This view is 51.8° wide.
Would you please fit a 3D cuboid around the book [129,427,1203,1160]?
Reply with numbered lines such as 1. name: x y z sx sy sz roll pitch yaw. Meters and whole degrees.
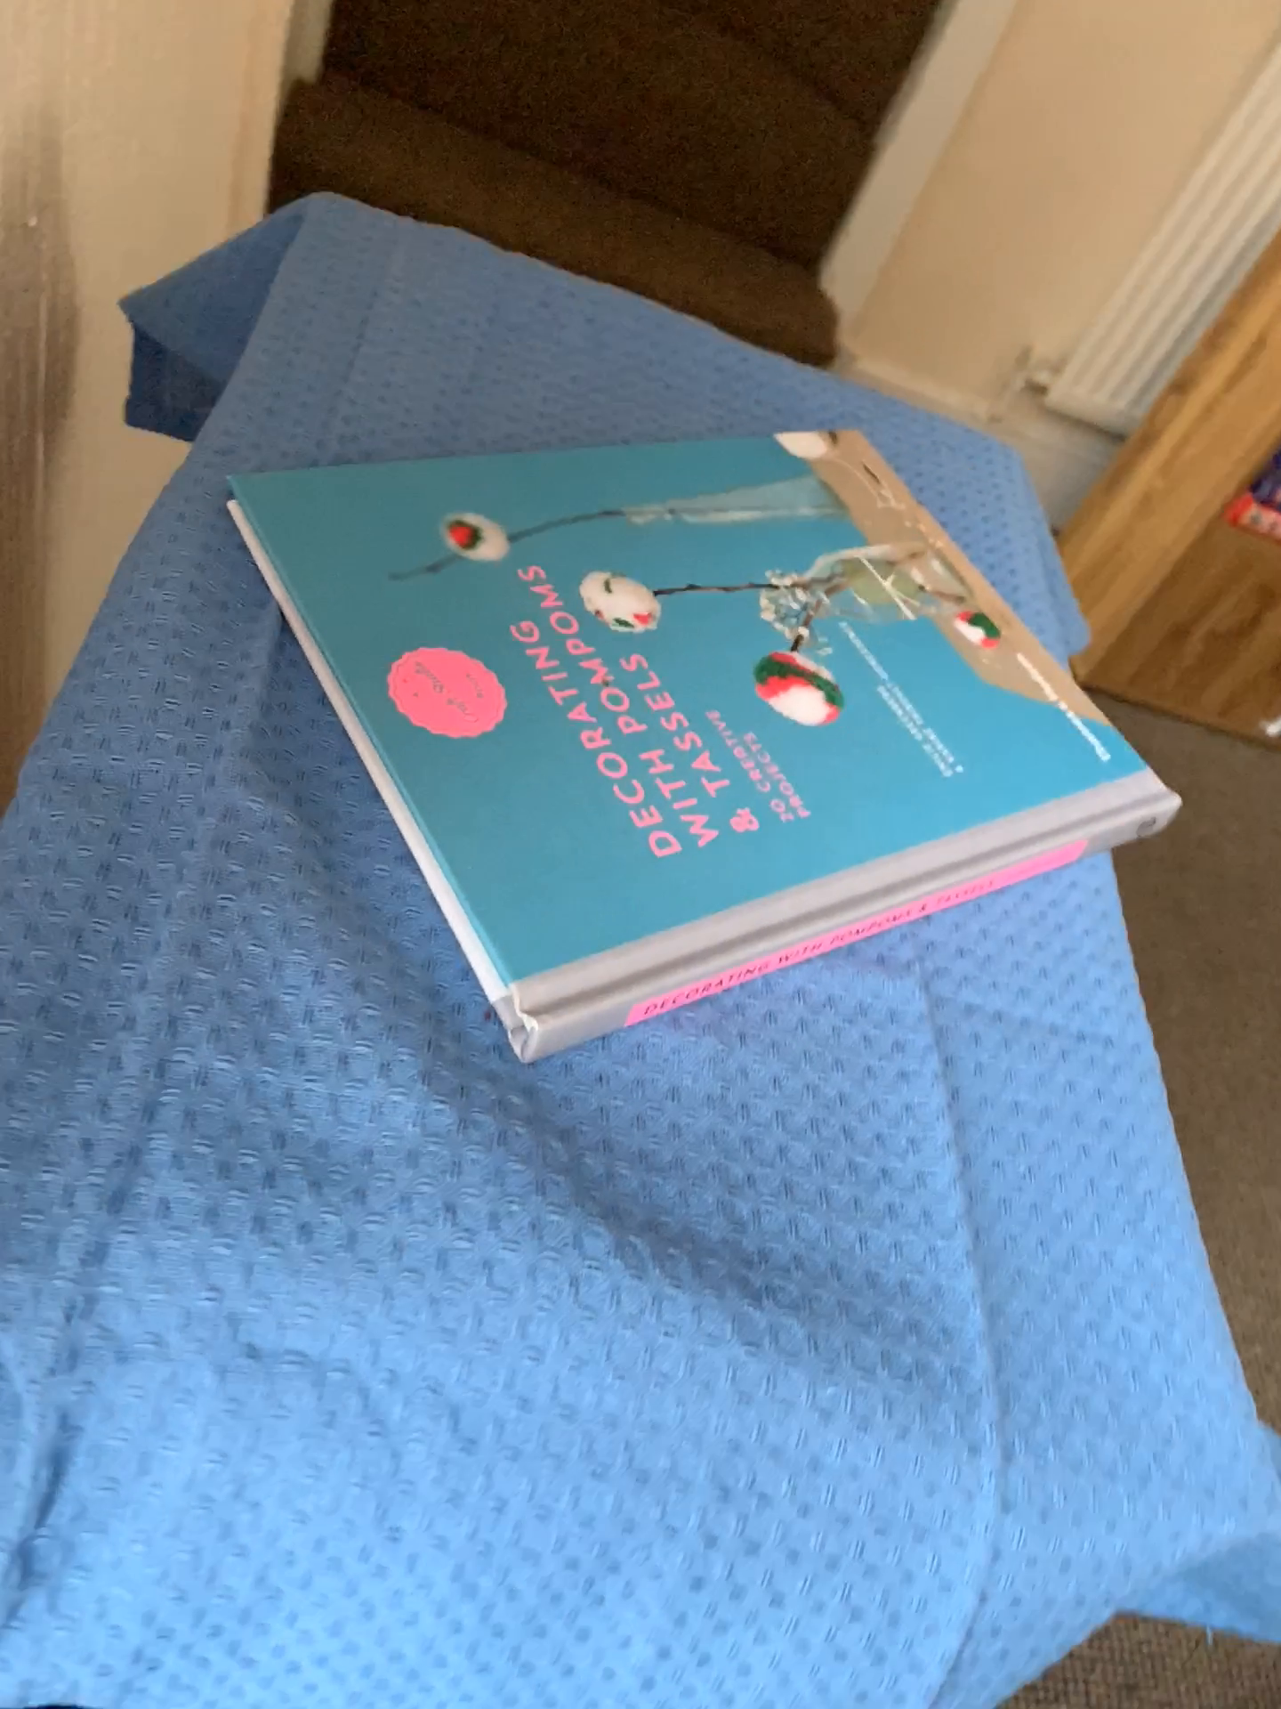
1. book: 0.017 -0.046 0.372 0.251 0.020 0.191 -17 60 -34
